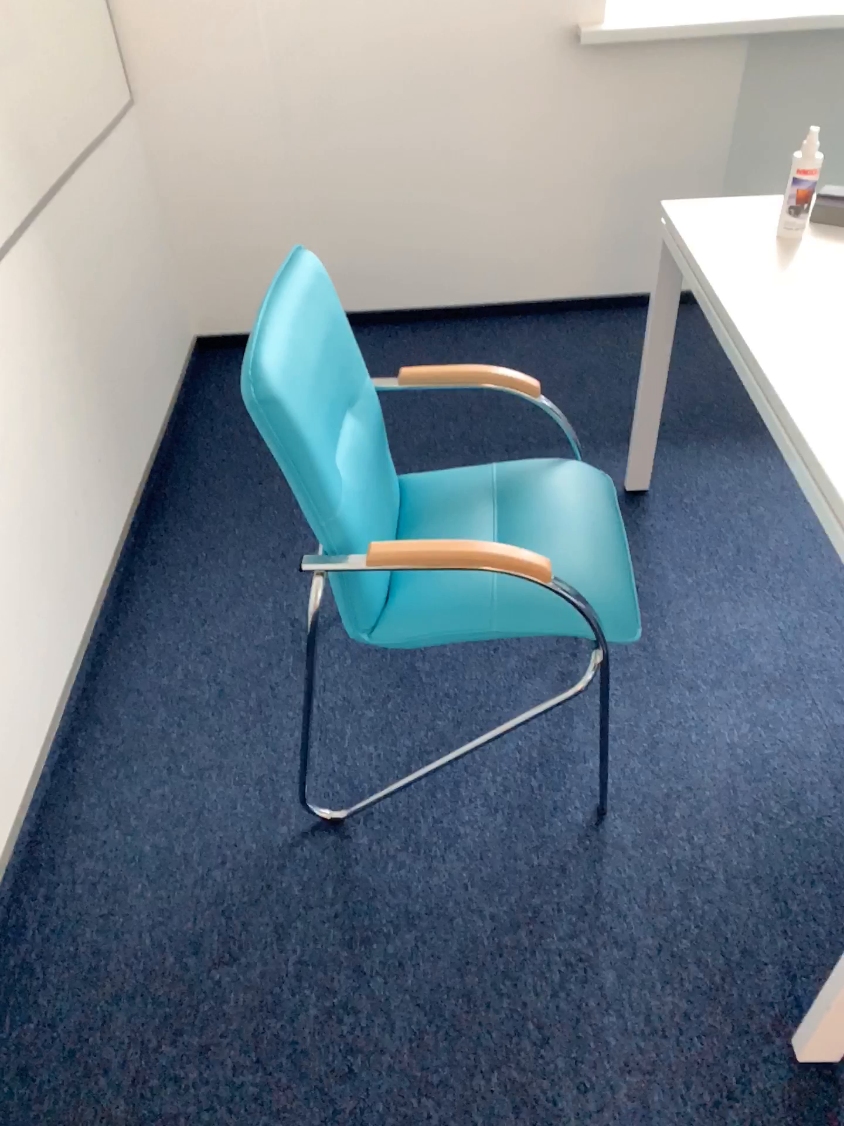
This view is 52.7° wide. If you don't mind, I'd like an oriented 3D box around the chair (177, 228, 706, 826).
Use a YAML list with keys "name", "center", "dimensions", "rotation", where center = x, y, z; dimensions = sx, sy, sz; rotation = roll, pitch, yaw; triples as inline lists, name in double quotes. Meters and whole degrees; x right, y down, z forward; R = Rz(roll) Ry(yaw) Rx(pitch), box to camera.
- name: "chair"
  center: [0.055, -0.031, 1.569]
  dimensions: [0.650, 0.925, 0.583]
  rotation: [0, 42, 4]
